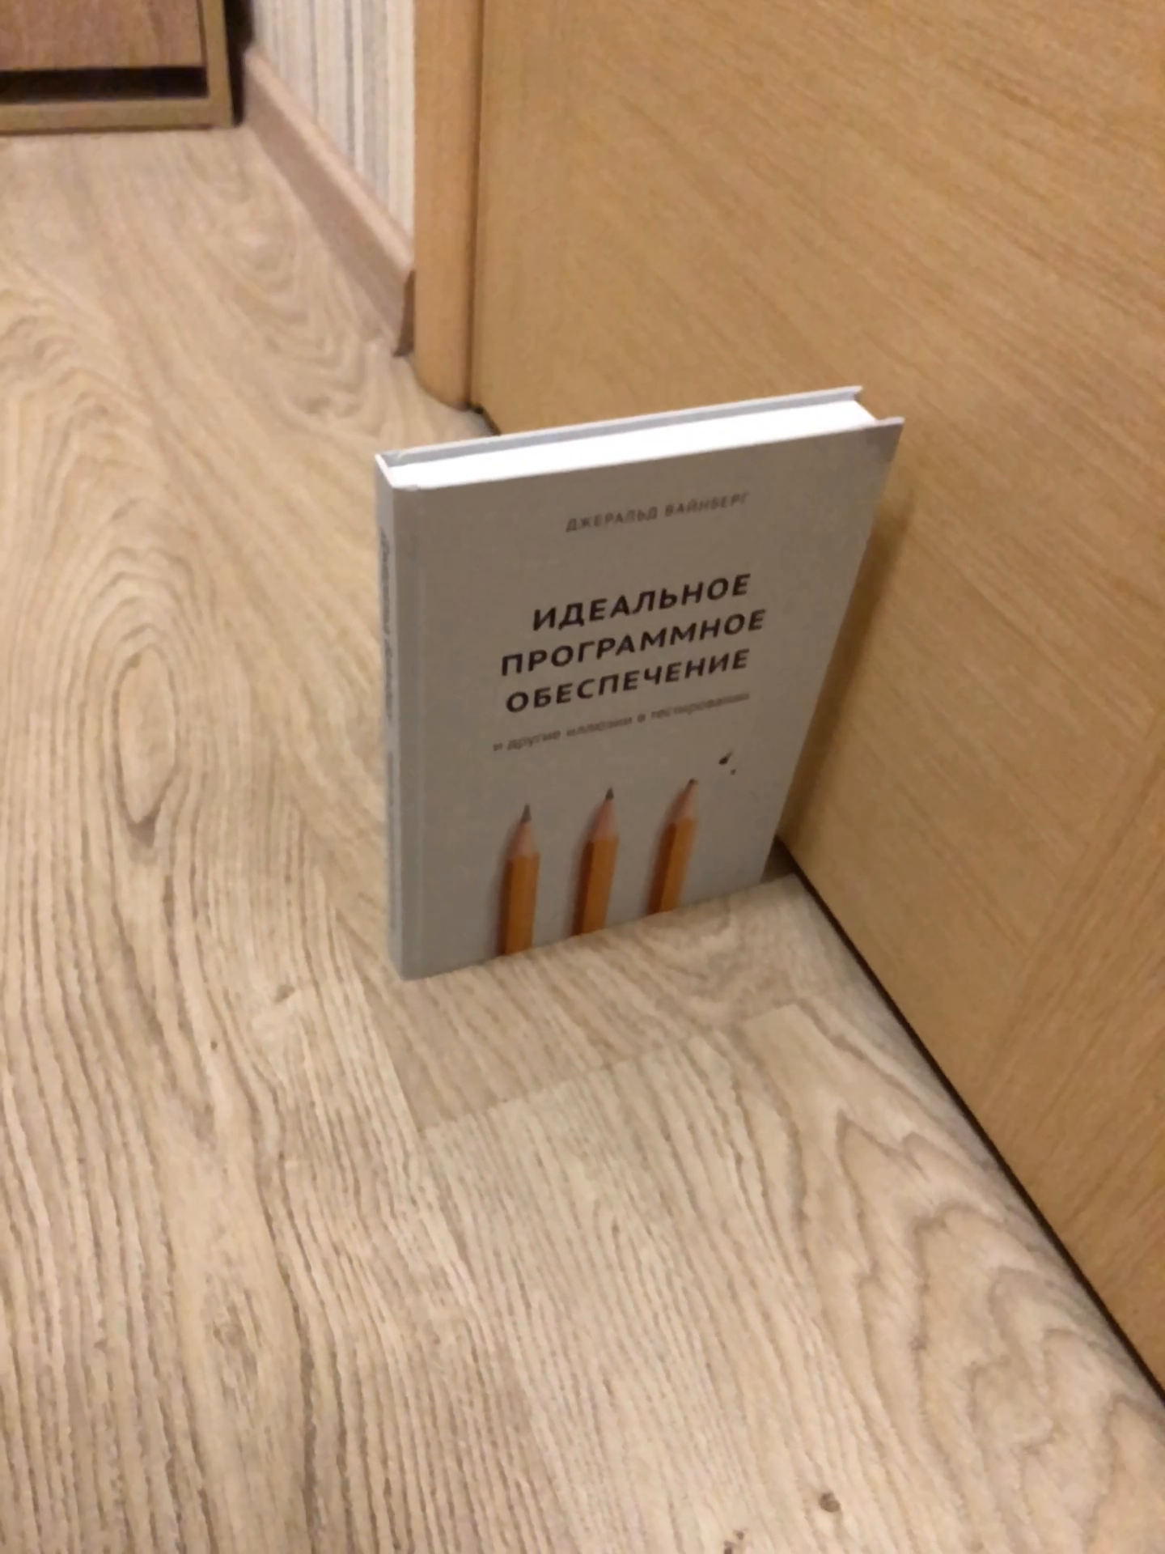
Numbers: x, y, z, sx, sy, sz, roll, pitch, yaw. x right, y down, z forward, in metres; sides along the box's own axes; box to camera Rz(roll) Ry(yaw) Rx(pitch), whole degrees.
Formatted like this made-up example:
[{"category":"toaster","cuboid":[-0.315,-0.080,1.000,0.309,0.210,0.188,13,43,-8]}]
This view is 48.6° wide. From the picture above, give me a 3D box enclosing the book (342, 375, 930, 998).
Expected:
[{"category":"book","cuboid":[0.009,-0.020,0.417,0.163,0.208,0.023,-13,49,-20]}]
